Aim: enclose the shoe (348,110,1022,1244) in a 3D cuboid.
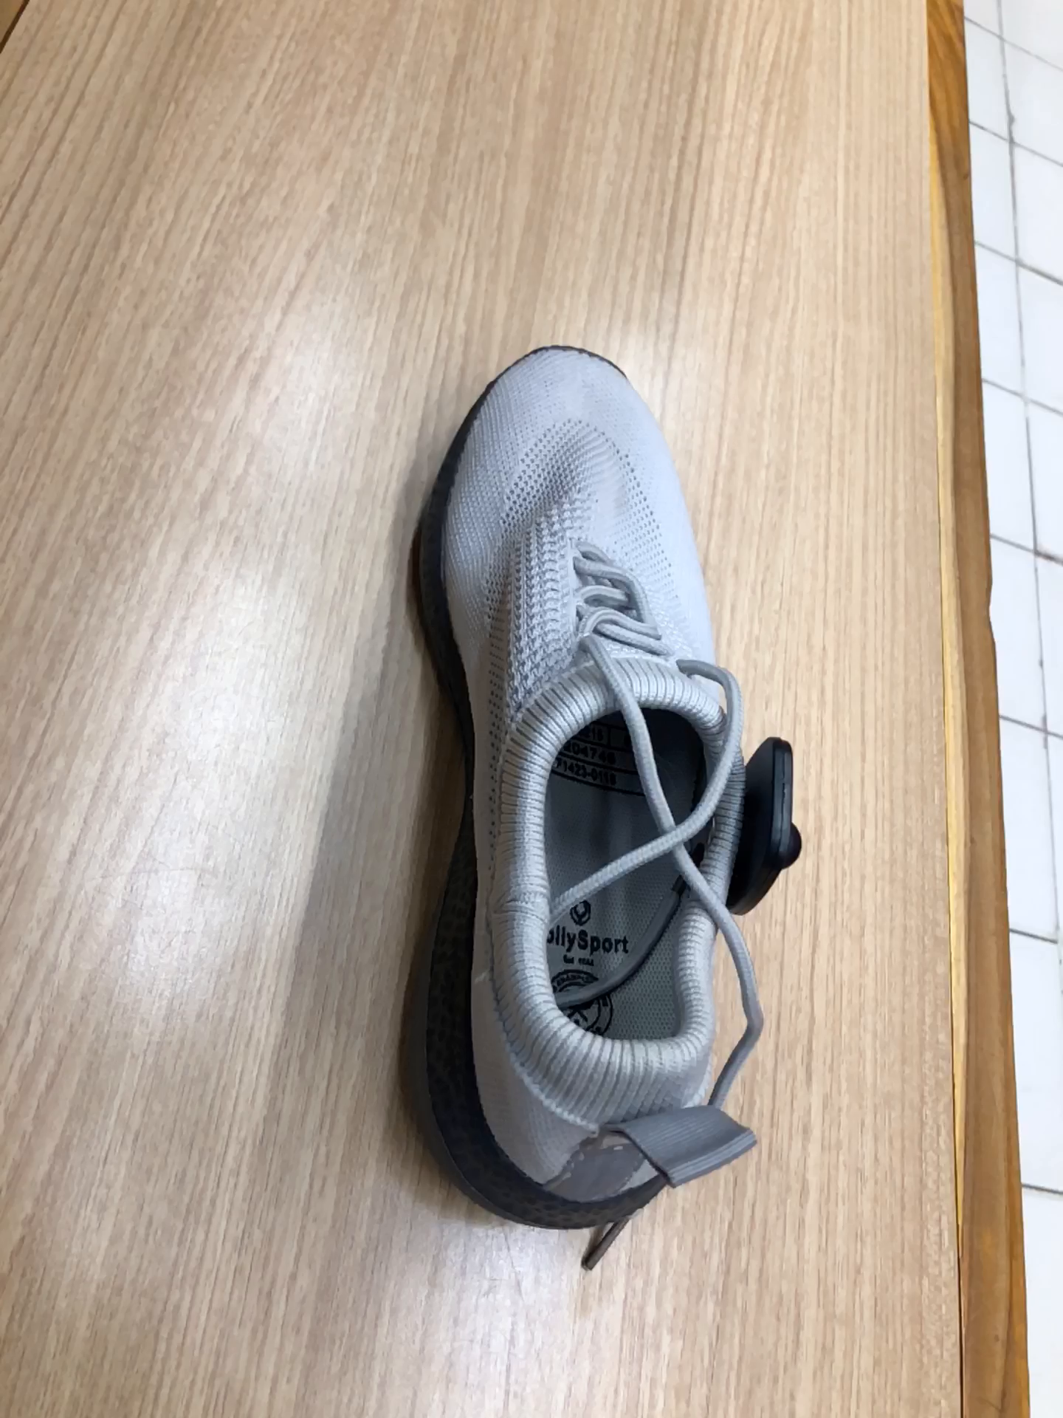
[{"bbox_3d":[0.030,-0.003,0.320,0.106,0.122,0.265,11,64,-18],"label":"shoe"}]
